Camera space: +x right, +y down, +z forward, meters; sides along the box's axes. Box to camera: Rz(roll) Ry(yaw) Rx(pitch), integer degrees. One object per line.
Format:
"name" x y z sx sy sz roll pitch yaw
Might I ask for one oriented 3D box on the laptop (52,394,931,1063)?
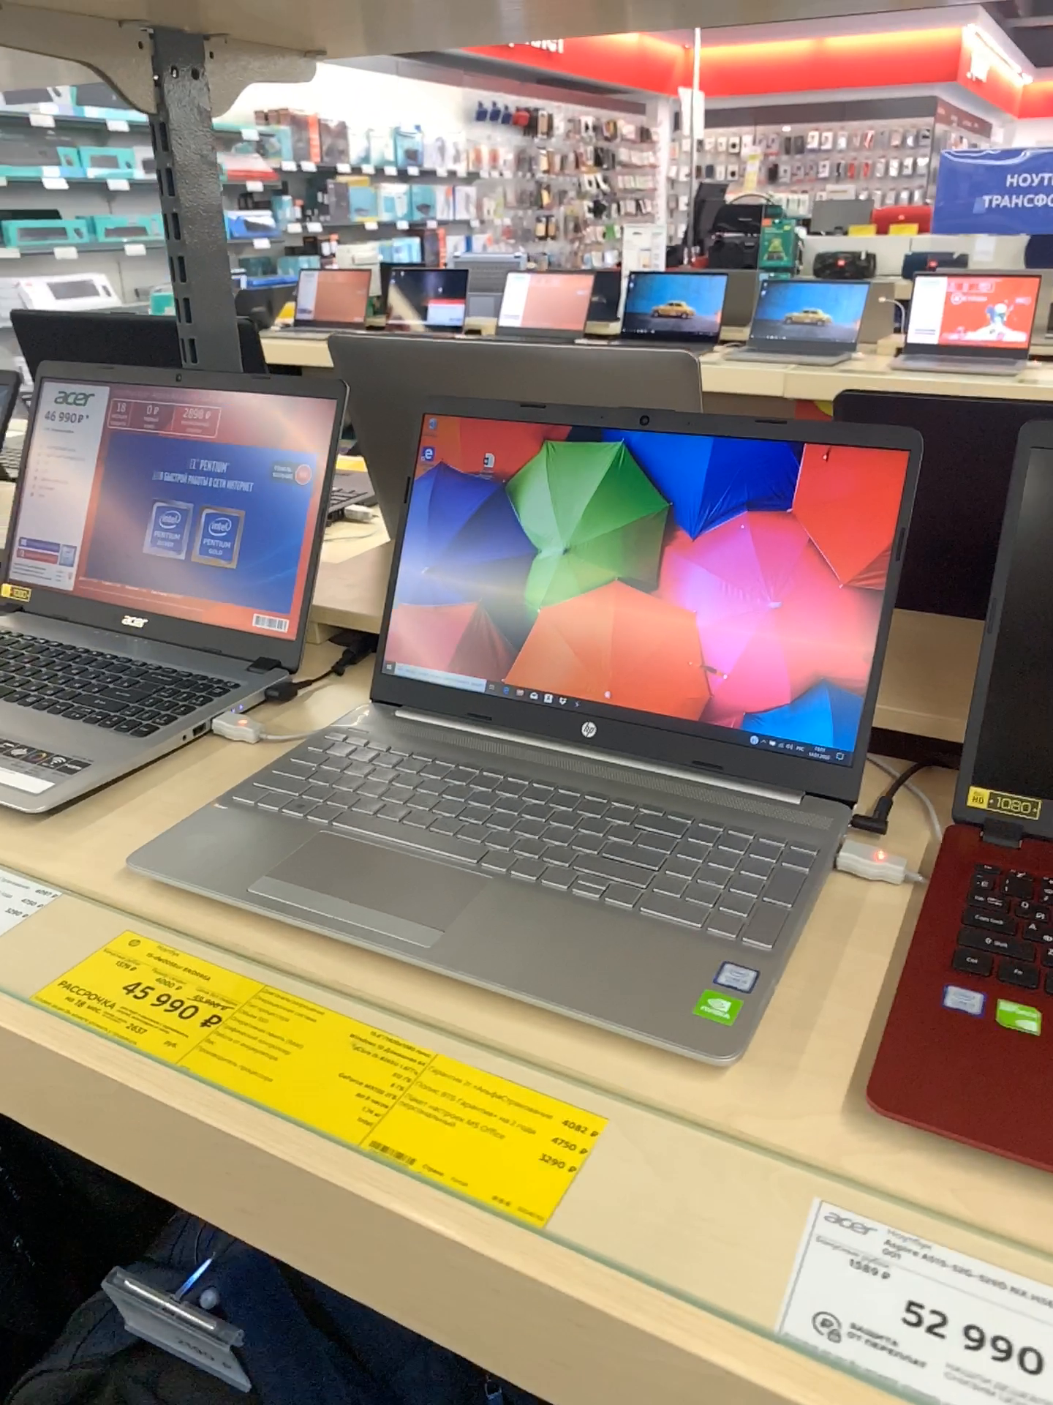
"laptop" 0.007 -0.039 0.636 0.360 0.209 0.348 11 27 26
